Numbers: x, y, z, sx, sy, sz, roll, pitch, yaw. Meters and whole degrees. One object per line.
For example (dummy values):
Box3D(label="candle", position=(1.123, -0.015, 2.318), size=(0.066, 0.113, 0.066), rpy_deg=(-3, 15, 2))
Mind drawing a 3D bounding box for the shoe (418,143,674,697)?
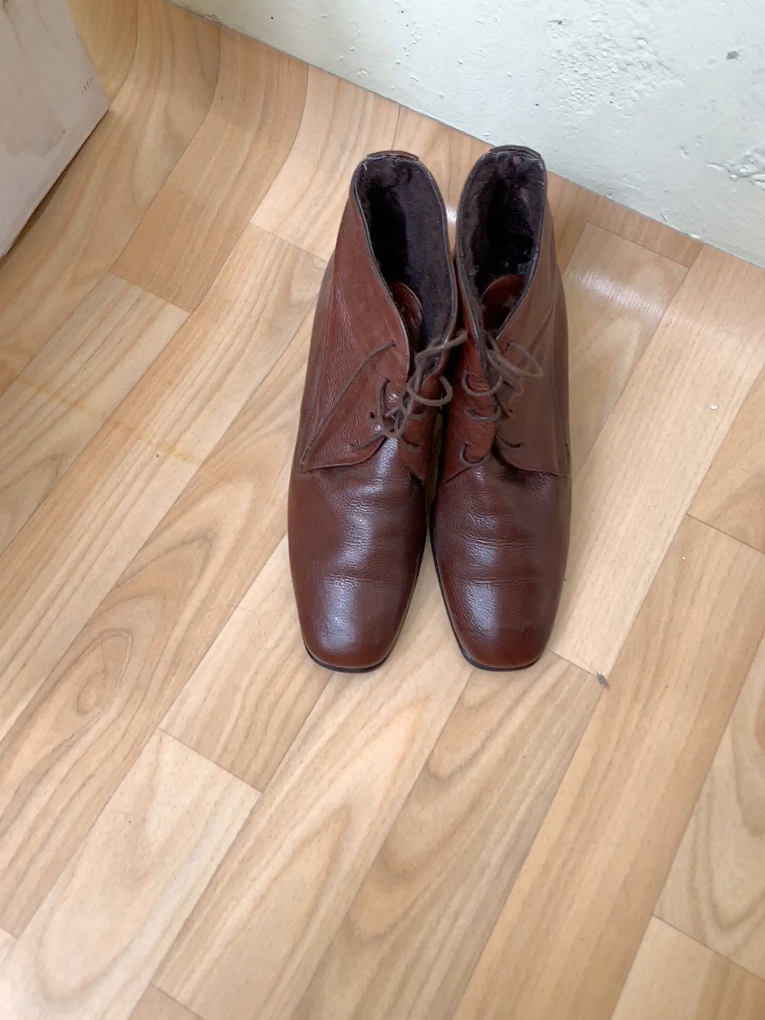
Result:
Box3D(label="shoe", position=(0.061, -0.031, 0.376), size=(0.080, 0.150, 0.220), rpy_deg=(1, 71, 0))

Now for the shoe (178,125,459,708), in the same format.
Box3D(label="shoe", position=(-0.018, -0.031, 0.364), size=(0.080, 0.150, 0.220), rpy_deg=(5, 71, 2))
